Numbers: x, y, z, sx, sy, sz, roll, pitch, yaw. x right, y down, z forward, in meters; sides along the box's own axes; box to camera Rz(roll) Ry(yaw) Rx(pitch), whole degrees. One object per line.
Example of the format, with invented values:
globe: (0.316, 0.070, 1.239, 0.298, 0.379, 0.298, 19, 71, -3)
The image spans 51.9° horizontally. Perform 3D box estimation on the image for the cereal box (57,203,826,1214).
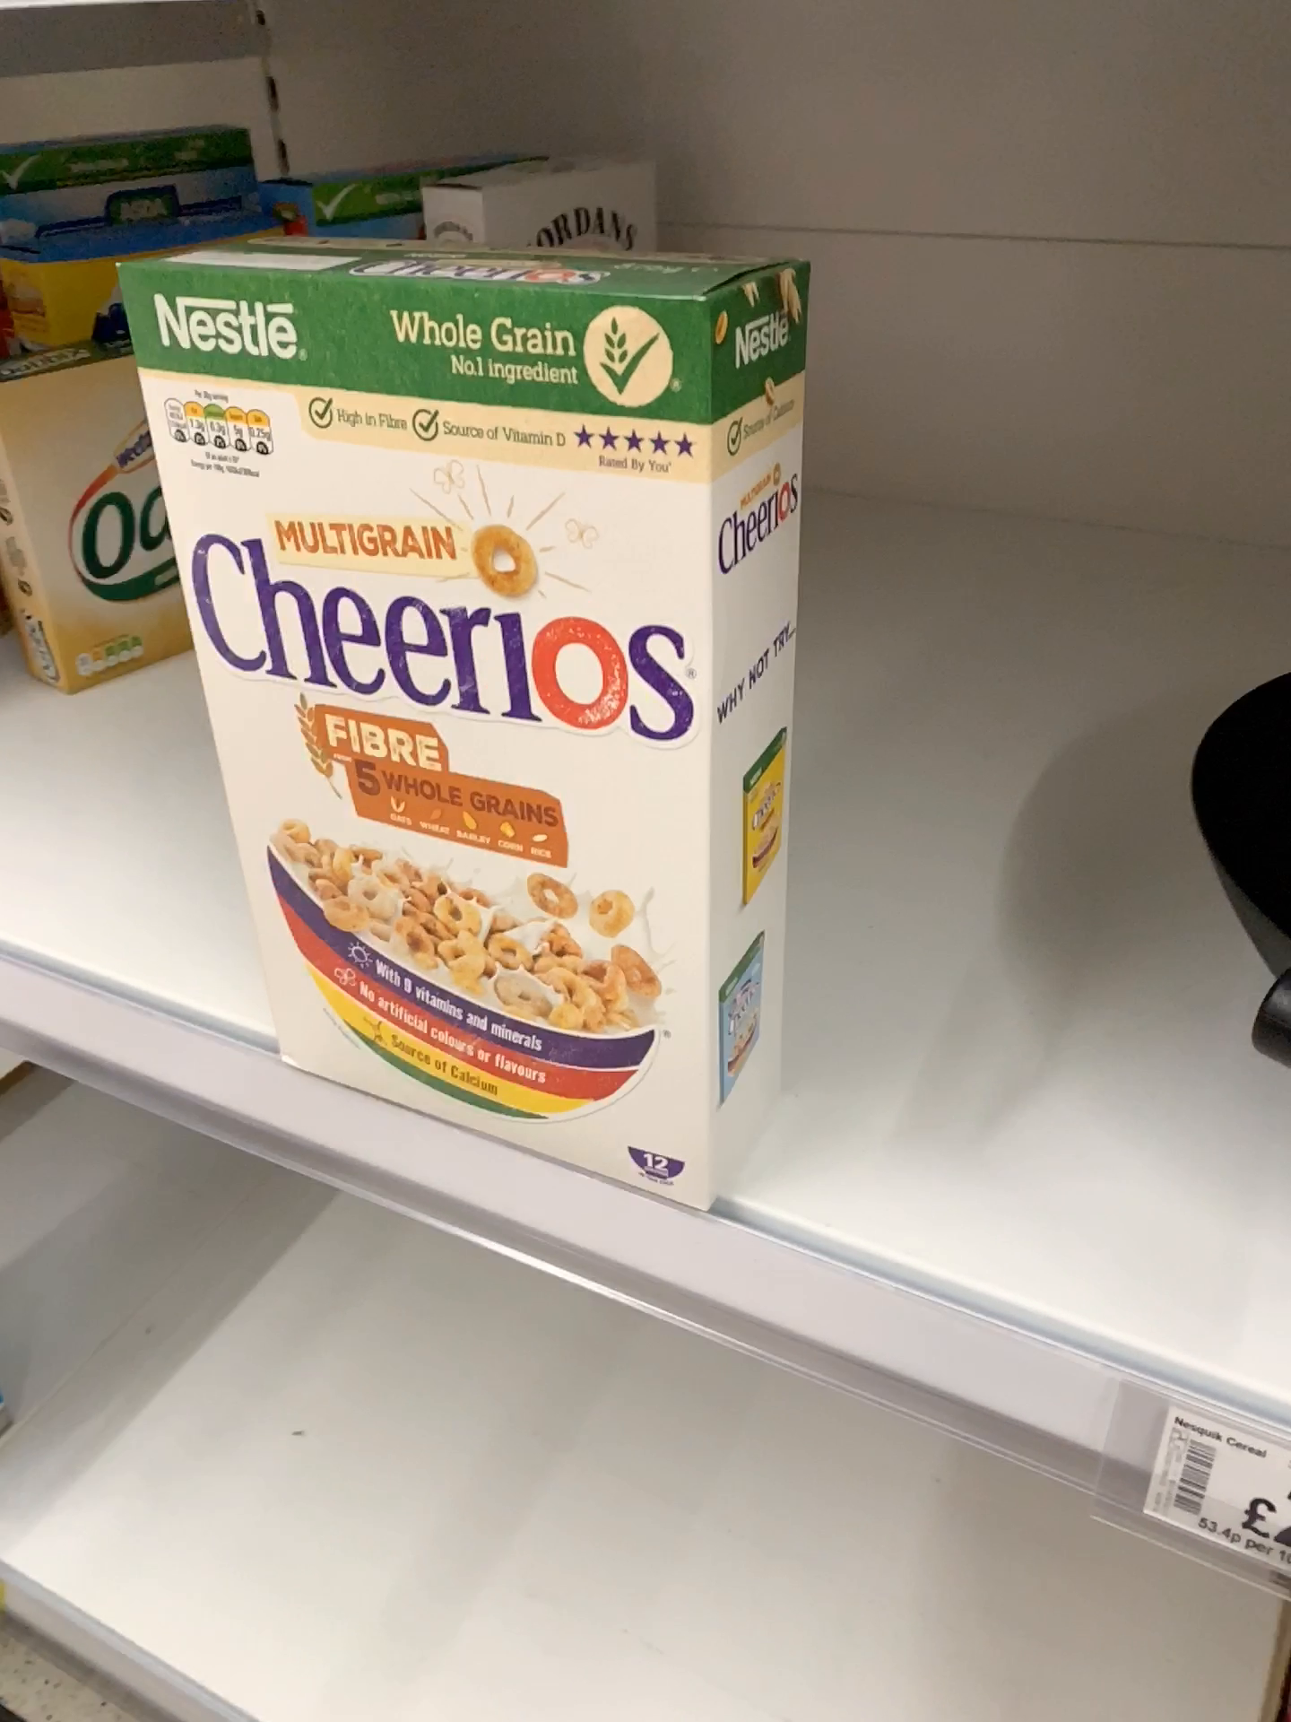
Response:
cereal box: (-0.056, -0.047, 0.428, 0.200, 0.287, 0.071, 13, 33, 23)
